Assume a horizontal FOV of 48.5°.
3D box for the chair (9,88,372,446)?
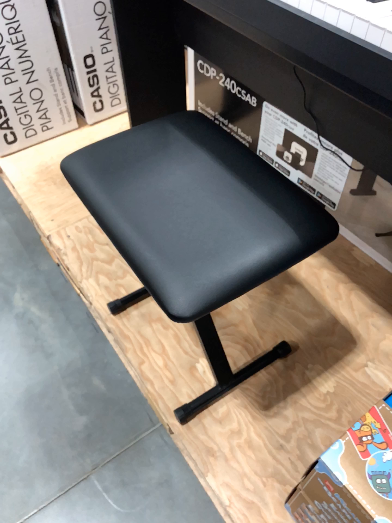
[{"bbox_3d":[-0.038,-0.030,0.809,0.370,0.279,0.511,-27,55,-20],"label":"chair"}]
